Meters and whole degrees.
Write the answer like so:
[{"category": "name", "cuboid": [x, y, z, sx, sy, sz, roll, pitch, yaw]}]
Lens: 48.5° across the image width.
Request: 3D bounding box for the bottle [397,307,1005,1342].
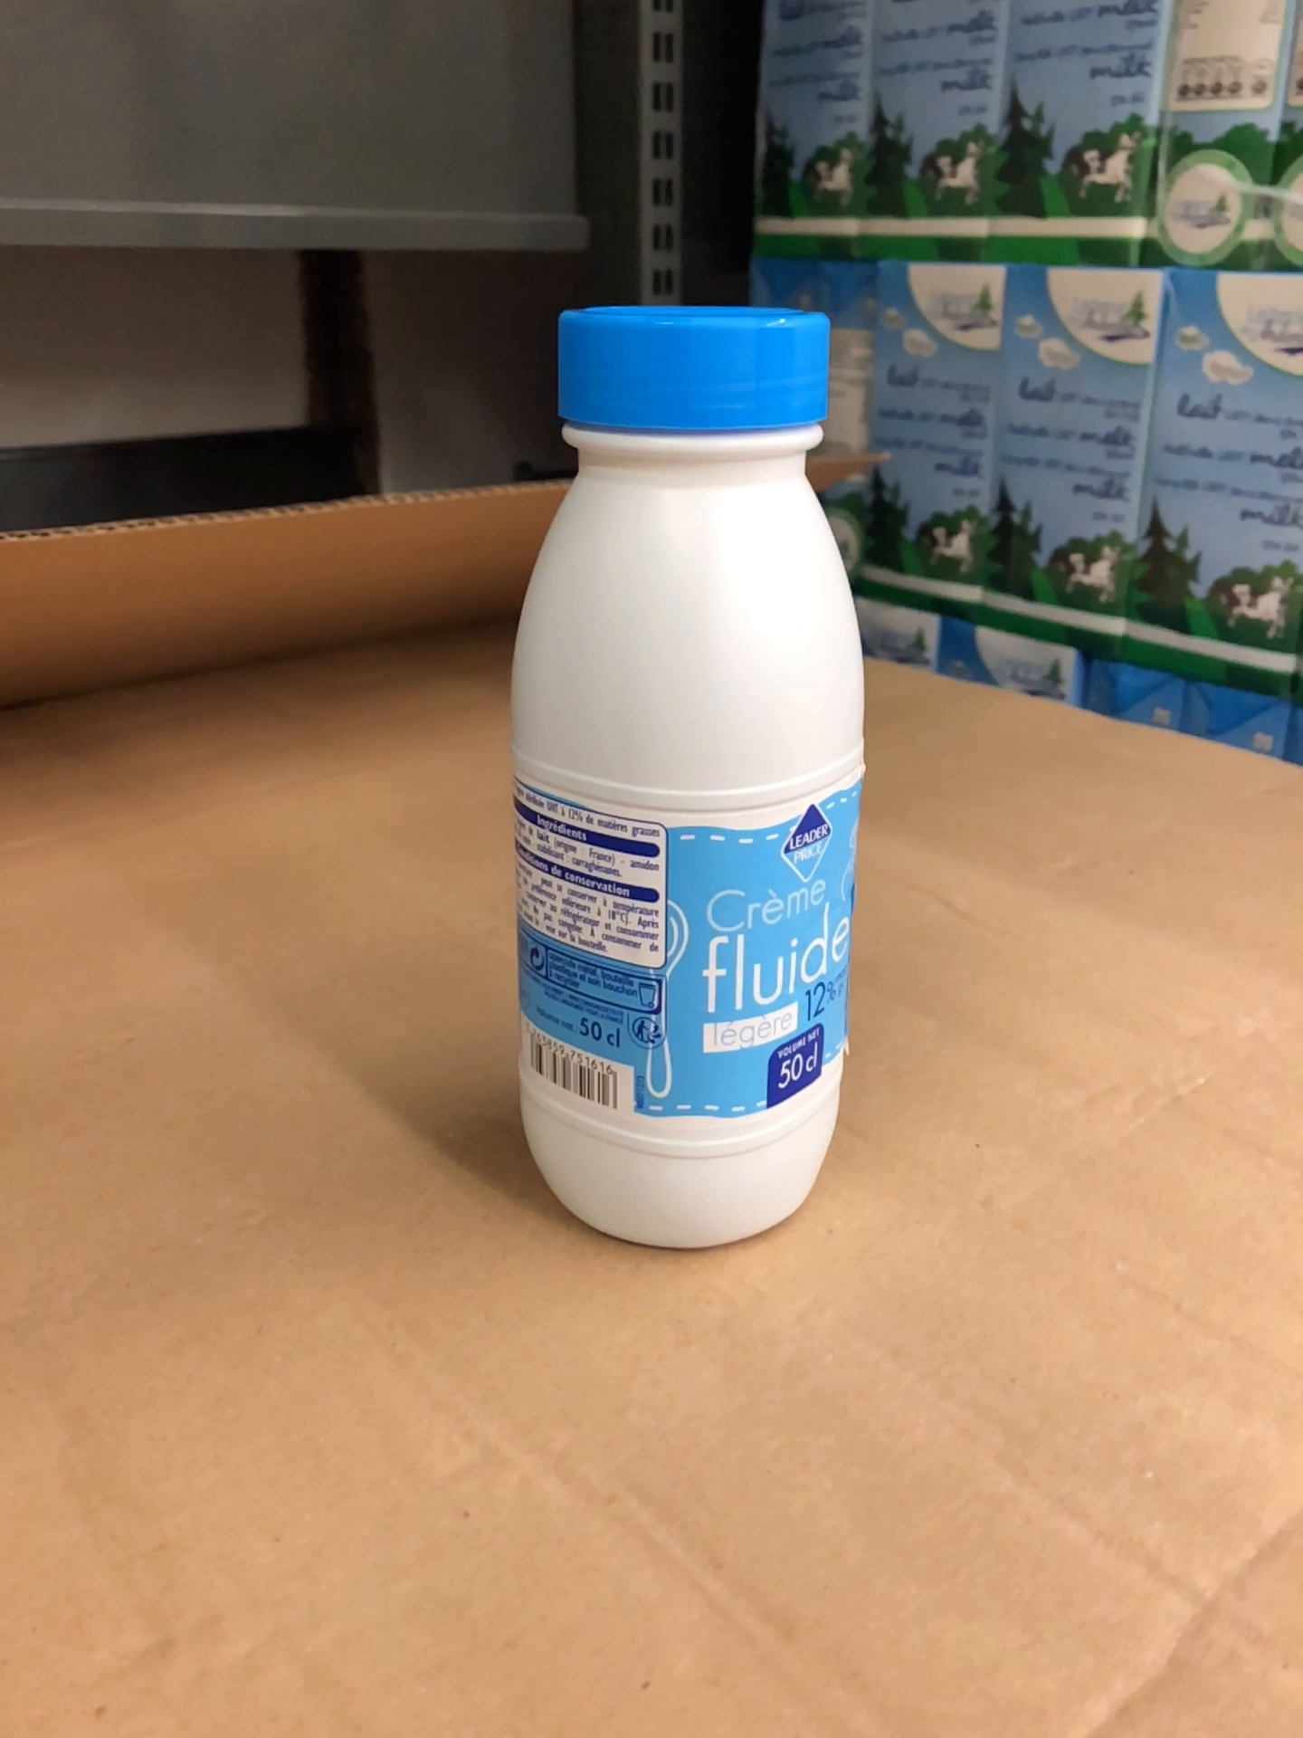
[{"category": "bottle", "cuboid": [0.009, -0.015, 0.305, 0.080, 0.189, 0.080, 0, 22, 0]}]
